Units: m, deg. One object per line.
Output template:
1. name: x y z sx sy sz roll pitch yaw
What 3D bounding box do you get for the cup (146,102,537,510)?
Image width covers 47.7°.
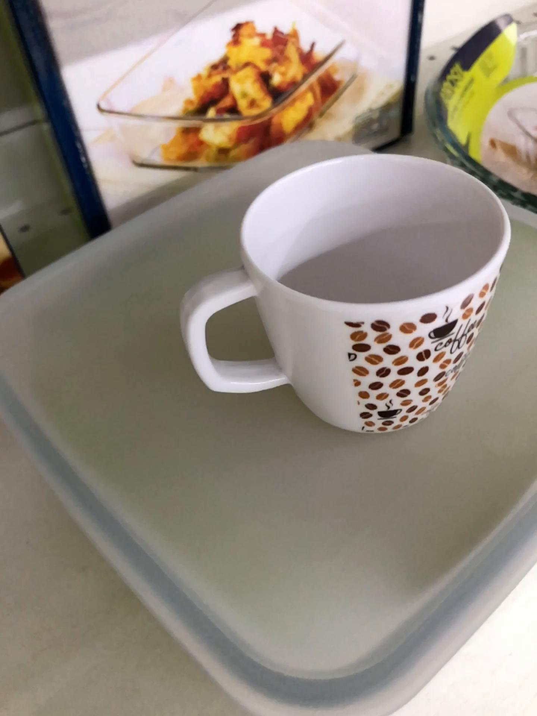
1. cup: 0.022 -0.016 0.143 0.080 0.050 0.060 -18 46 -11
